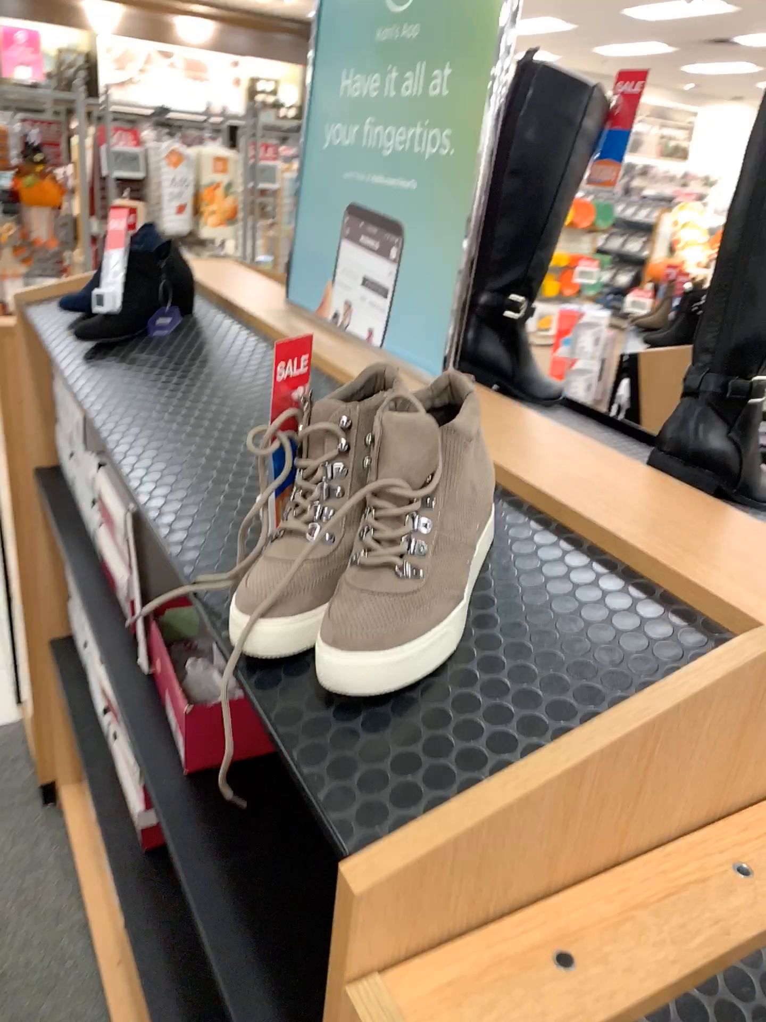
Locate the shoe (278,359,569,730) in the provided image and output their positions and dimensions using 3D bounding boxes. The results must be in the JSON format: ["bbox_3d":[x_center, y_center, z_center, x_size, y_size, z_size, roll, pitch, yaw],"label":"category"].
[{"bbox_3d":[0.048,-0.001,0.588,0.100,0.160,0.291,11,25,24],"label":"shoe"}]

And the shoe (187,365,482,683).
[{"bbox_3d":[-0.022,-0.009,0.637,0.100,0.160,0.261,13,26,28],"label":"shoe"}]
